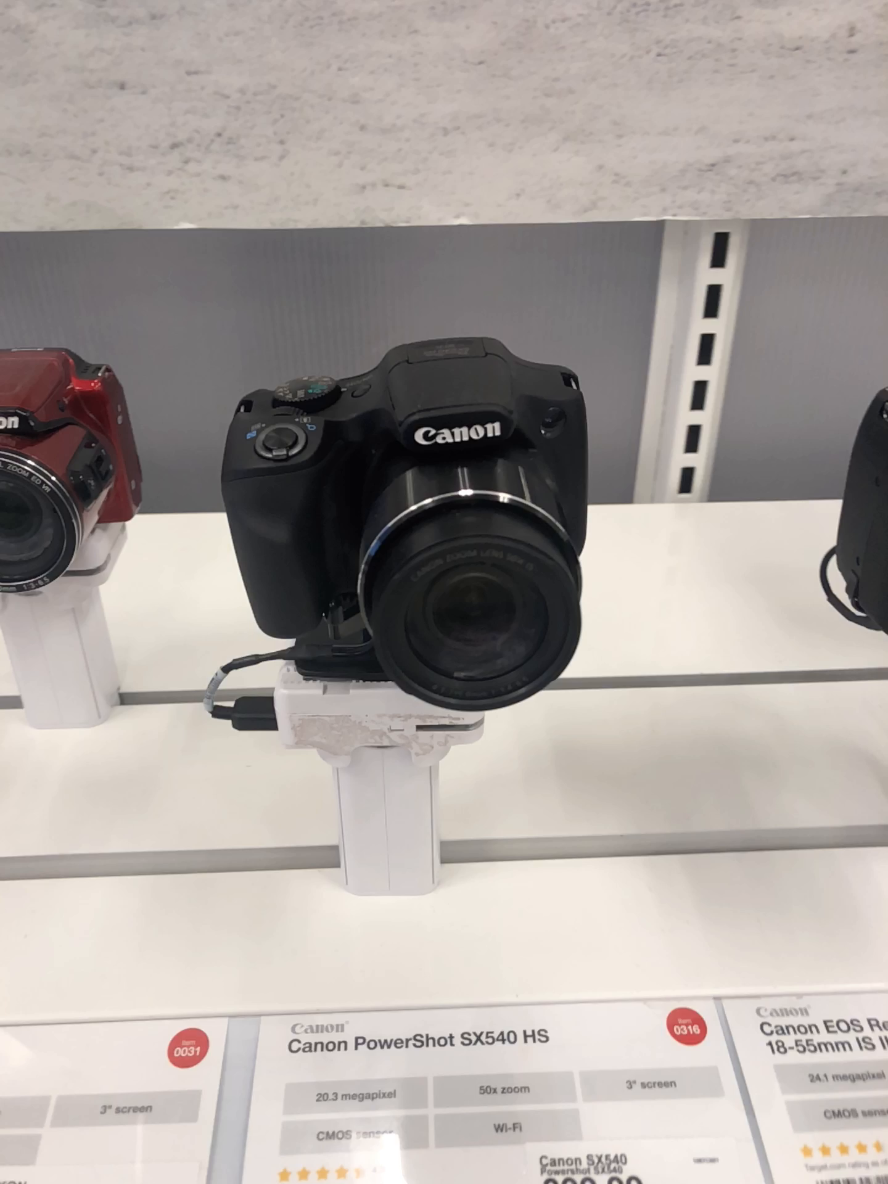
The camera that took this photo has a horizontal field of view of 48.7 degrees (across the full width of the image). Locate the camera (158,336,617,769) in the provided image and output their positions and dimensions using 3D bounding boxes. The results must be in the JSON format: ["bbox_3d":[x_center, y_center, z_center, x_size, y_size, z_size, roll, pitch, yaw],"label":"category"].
[{"bbox_3d":[-0.016,-0.016,0.275,0.100,0.076,0.099,-3,33,-4],"label":"camera"}]
